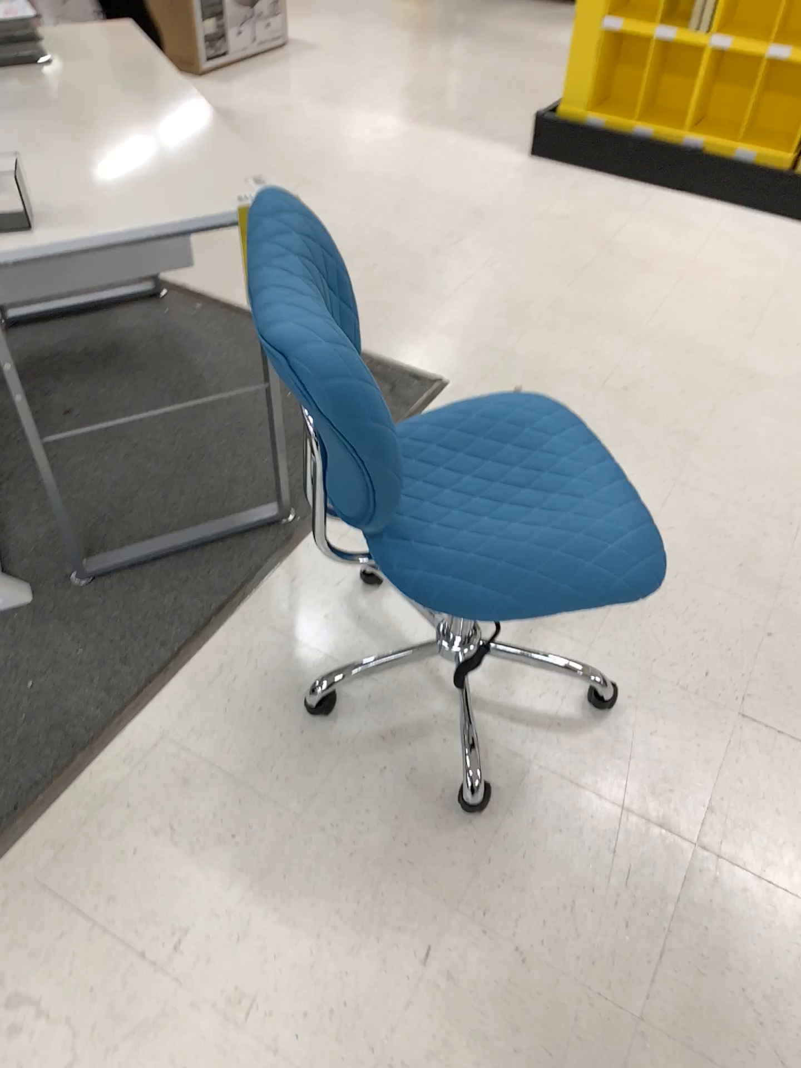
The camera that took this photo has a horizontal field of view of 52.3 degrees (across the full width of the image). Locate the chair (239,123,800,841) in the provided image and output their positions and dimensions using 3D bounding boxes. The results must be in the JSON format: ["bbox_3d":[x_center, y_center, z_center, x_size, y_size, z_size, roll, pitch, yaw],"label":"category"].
[{"bbox_3d":[0.121,-0.059,1.265,0.630,0.876,0.613,-5,45,-8],"label":"chair"}]
